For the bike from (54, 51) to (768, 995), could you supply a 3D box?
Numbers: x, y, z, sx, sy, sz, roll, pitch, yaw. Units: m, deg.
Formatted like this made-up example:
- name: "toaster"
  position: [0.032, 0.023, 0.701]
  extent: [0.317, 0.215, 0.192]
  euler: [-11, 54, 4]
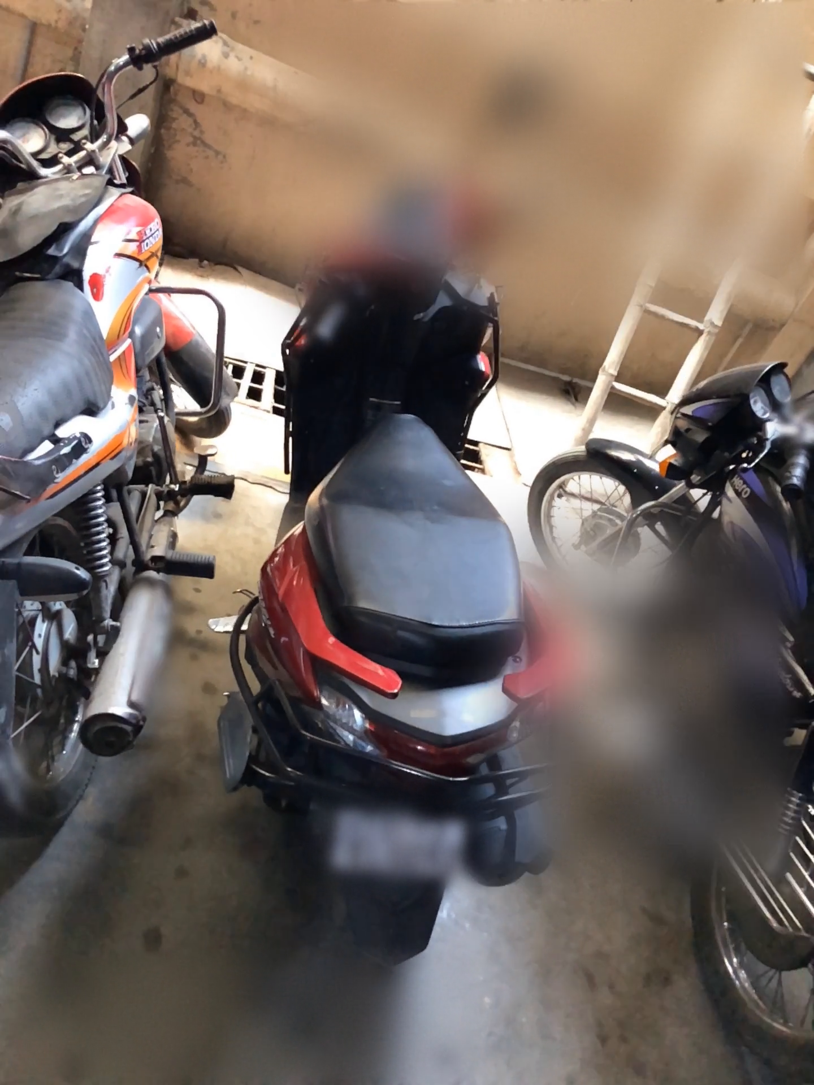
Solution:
- name: "bike"
  position: [-0.163, -0.111, 1.824]
  extent: [0.630, 1.140, 1.445]
  euler: [14, 36, -20]

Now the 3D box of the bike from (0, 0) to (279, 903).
- name: "bike"
  position: [-0.839, -0.420, 1.700]
  extent: [0.839, 1.089, 1.657]
  euler: [14, 34, -19]
